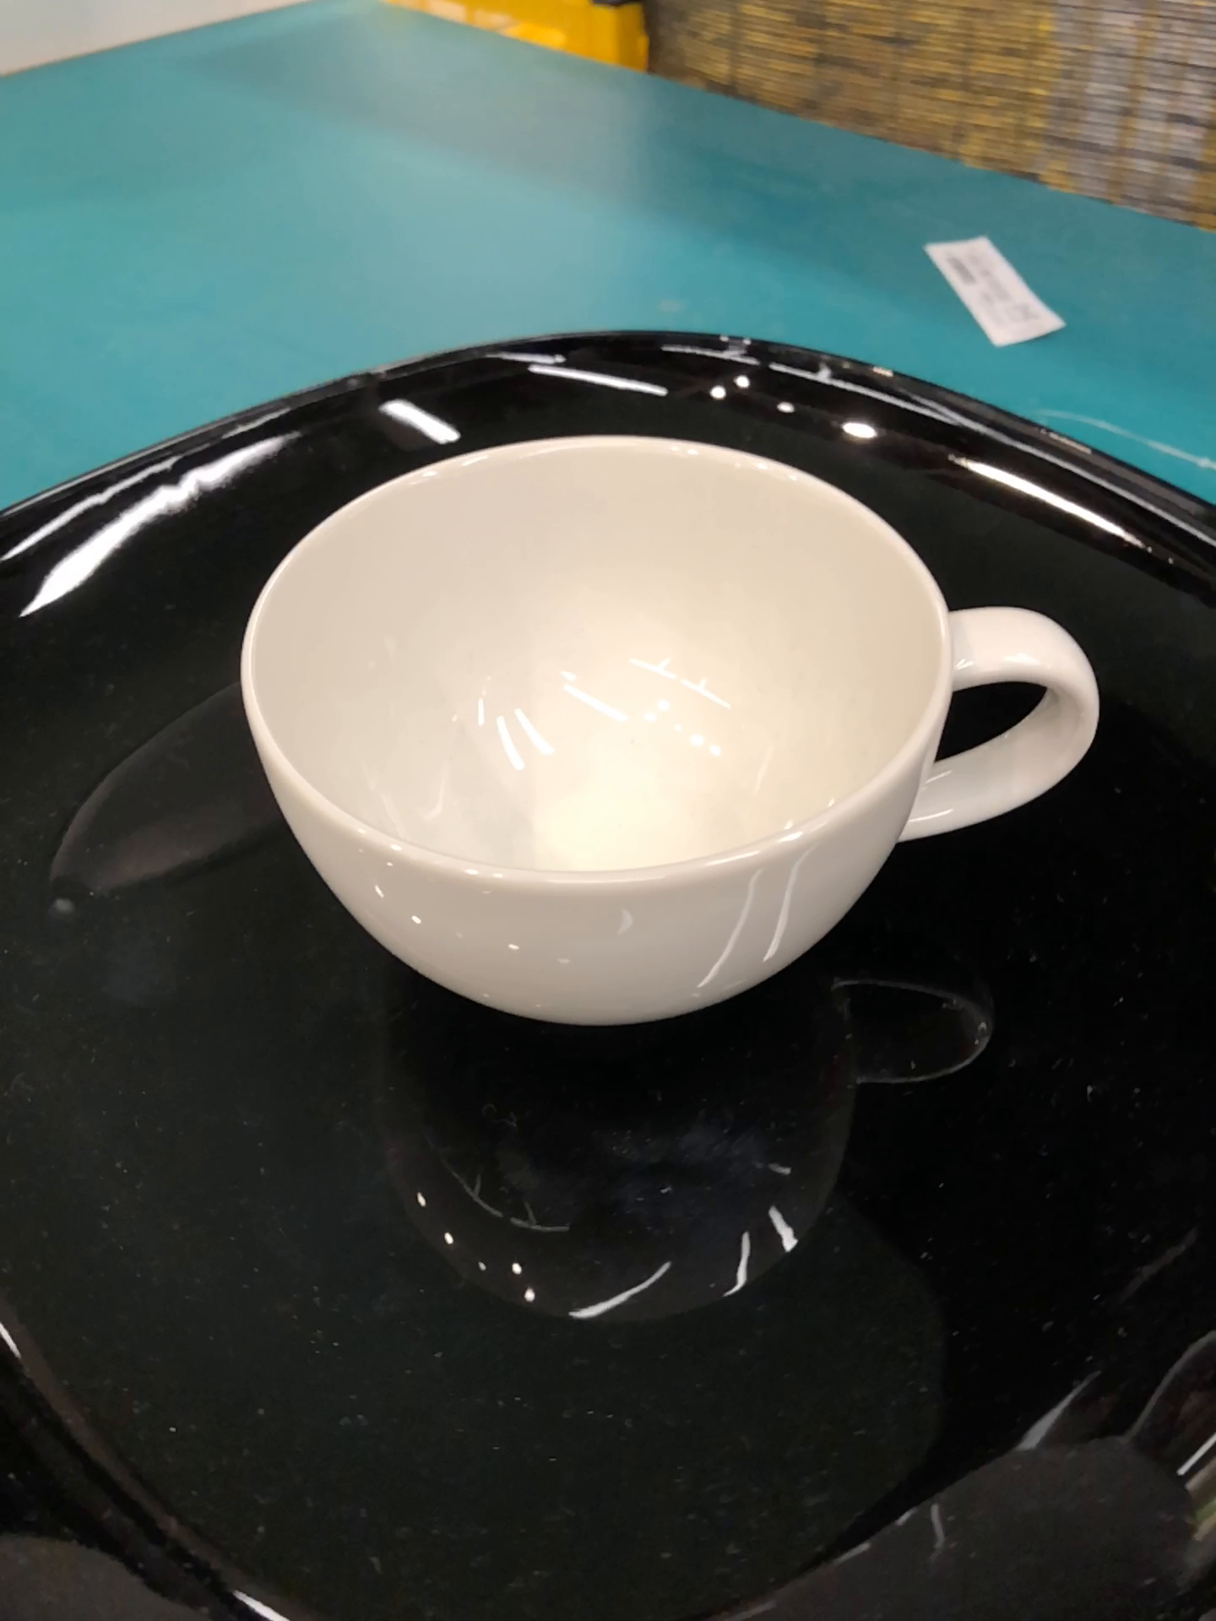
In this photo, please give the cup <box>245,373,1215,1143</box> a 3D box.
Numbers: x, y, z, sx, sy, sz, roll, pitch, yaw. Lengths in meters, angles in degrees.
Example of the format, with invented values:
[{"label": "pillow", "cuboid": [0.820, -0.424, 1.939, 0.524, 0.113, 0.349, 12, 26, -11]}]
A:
[{"label": "cup", "cuboid": [0.014, -0.017, 0.213, 0.130, 0.040, 0.110, -9, 43, -6]}]
